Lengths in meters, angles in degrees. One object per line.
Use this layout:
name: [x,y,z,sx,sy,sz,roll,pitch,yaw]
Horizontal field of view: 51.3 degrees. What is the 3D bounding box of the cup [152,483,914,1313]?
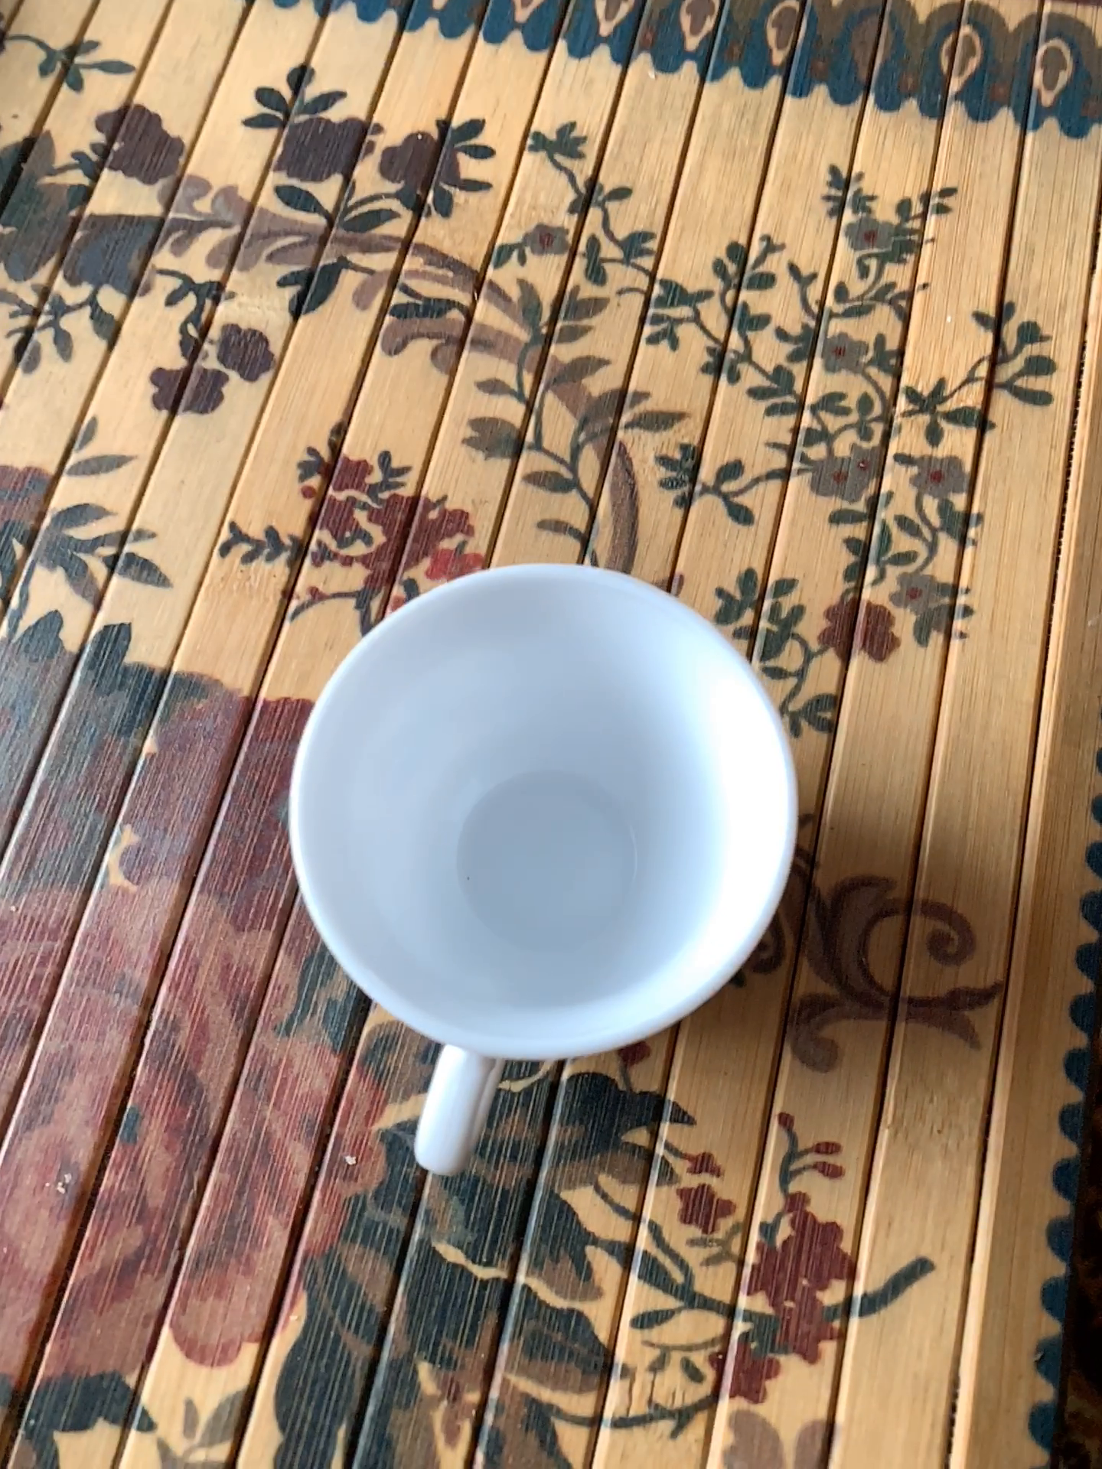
cup: [0.001,0.020,0.153,0.067,0.039,0.081,17,73,6]
